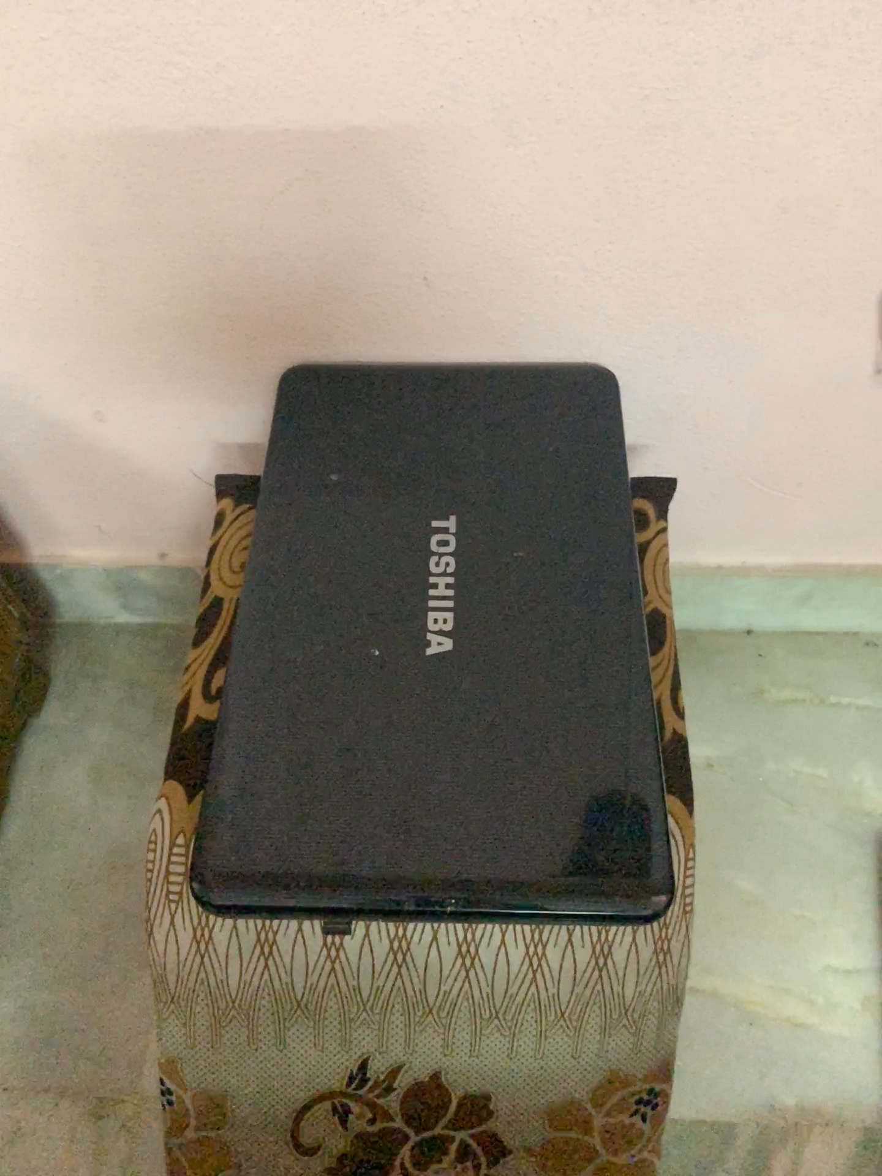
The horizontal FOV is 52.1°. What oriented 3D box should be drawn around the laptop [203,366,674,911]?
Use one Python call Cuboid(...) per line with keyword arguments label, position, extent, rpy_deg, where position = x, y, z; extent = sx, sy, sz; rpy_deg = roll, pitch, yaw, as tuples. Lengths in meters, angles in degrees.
Cuboid(label="laptop", position=(0.000, -0.004, 0.531), extent=(0.222, 0.001, 0.371), rpy_deg=(0, 55, 2))
